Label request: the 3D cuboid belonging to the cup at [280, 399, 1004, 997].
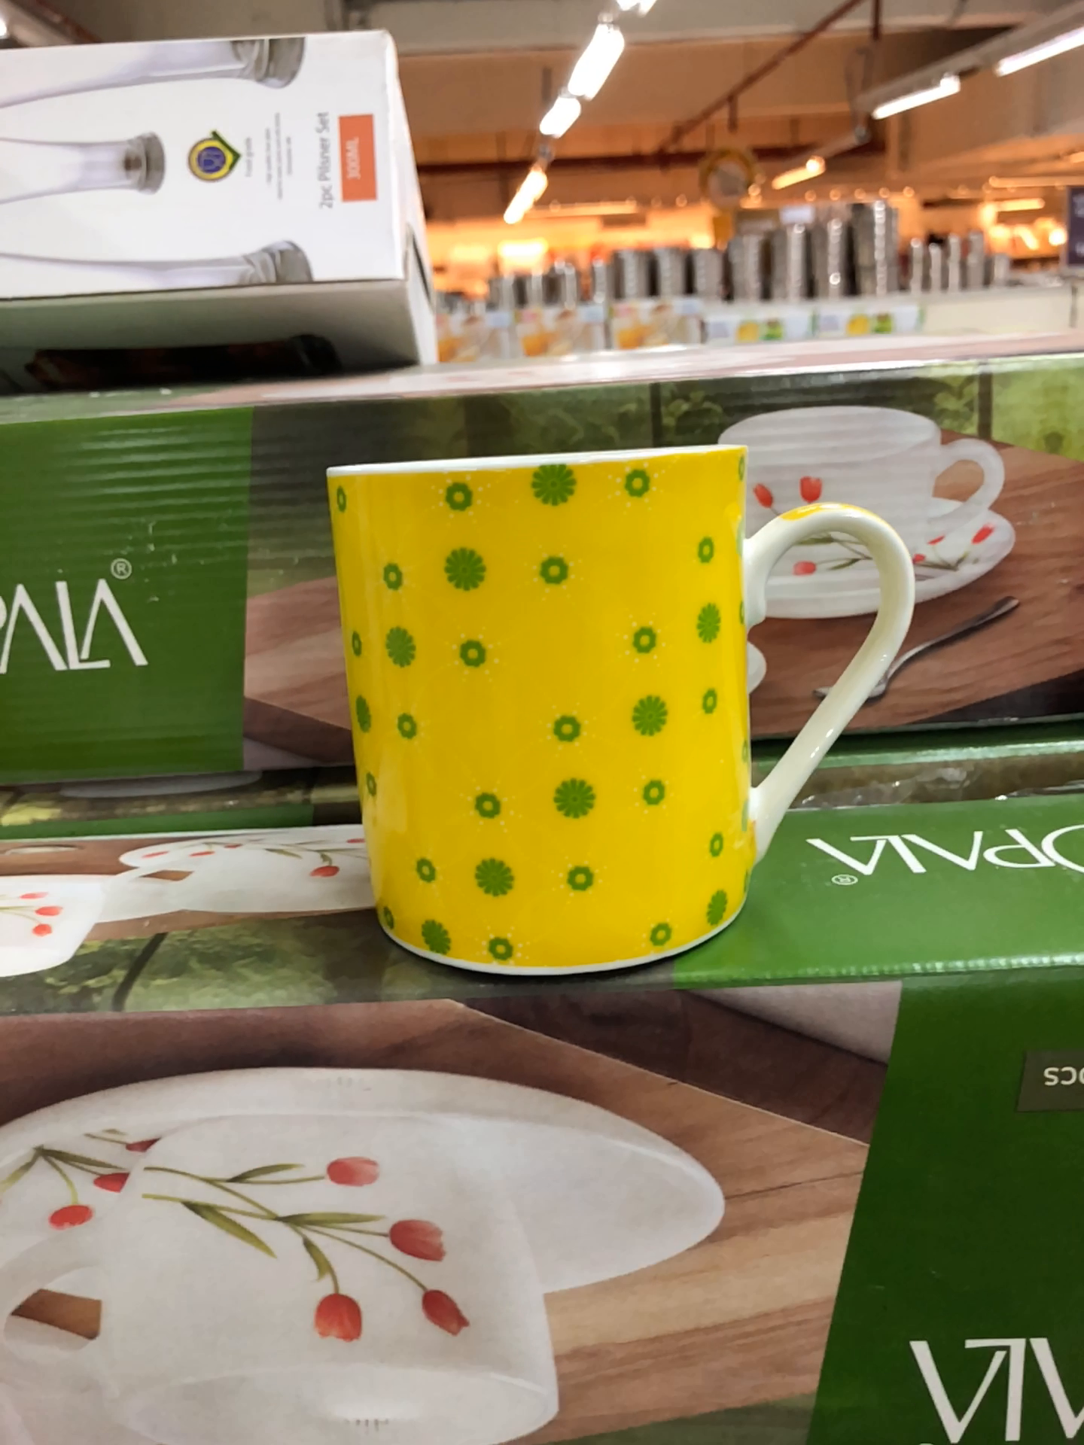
[{"bbox_3d":[0.018,-0.010,0.232,0.110,0.090,0.080,-3,11,0],"label":"cup"}]
